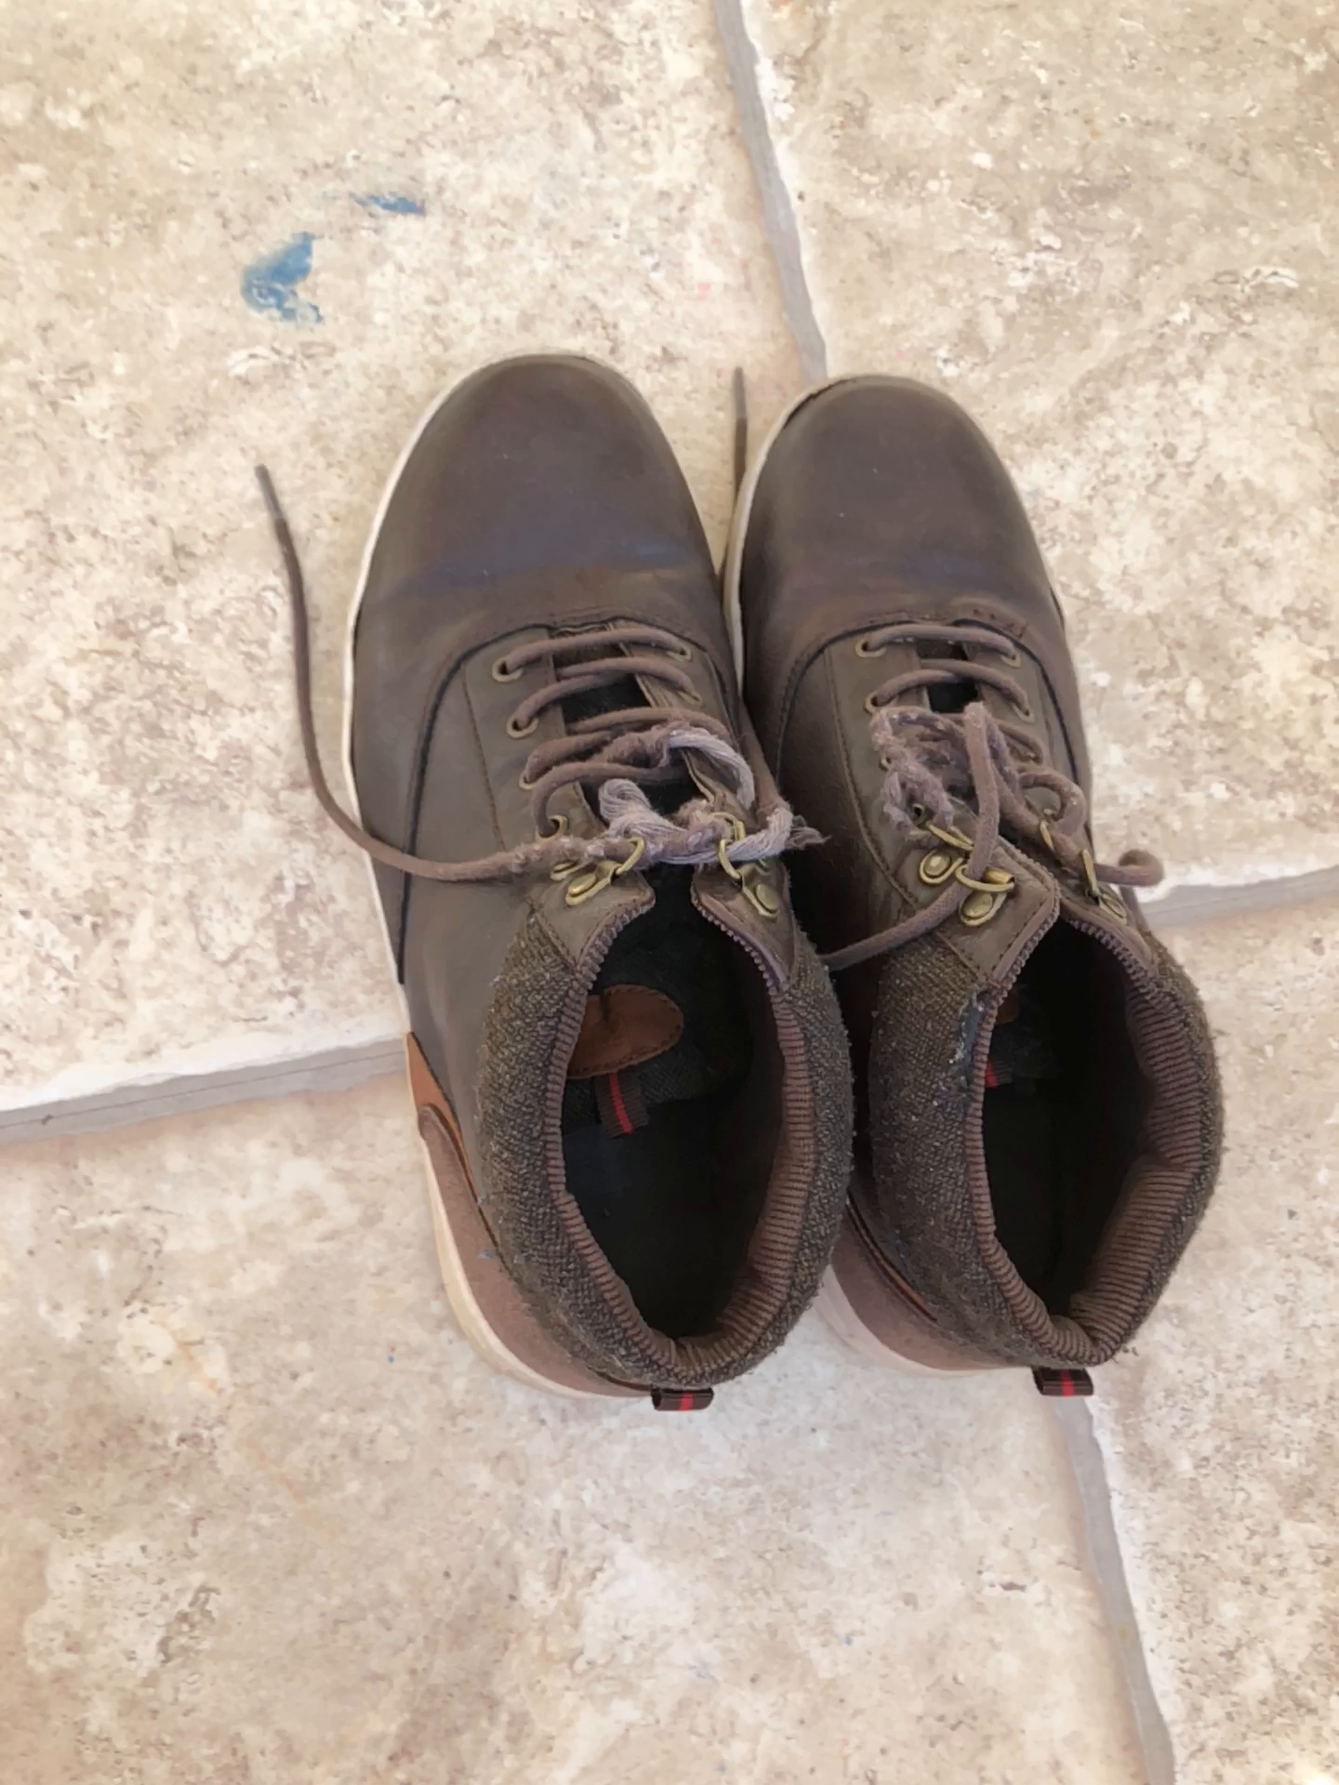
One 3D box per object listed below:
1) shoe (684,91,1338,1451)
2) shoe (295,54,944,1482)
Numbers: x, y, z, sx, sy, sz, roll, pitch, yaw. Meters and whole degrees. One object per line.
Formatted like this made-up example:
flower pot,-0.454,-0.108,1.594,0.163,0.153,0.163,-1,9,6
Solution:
shoe,0.080,-0.026,0.395,0.110,0.150,0.300,-1,77,-10
shoe,-0.027,-0.027,0.380,0.110,0.150,0.300,-3,77,-10
